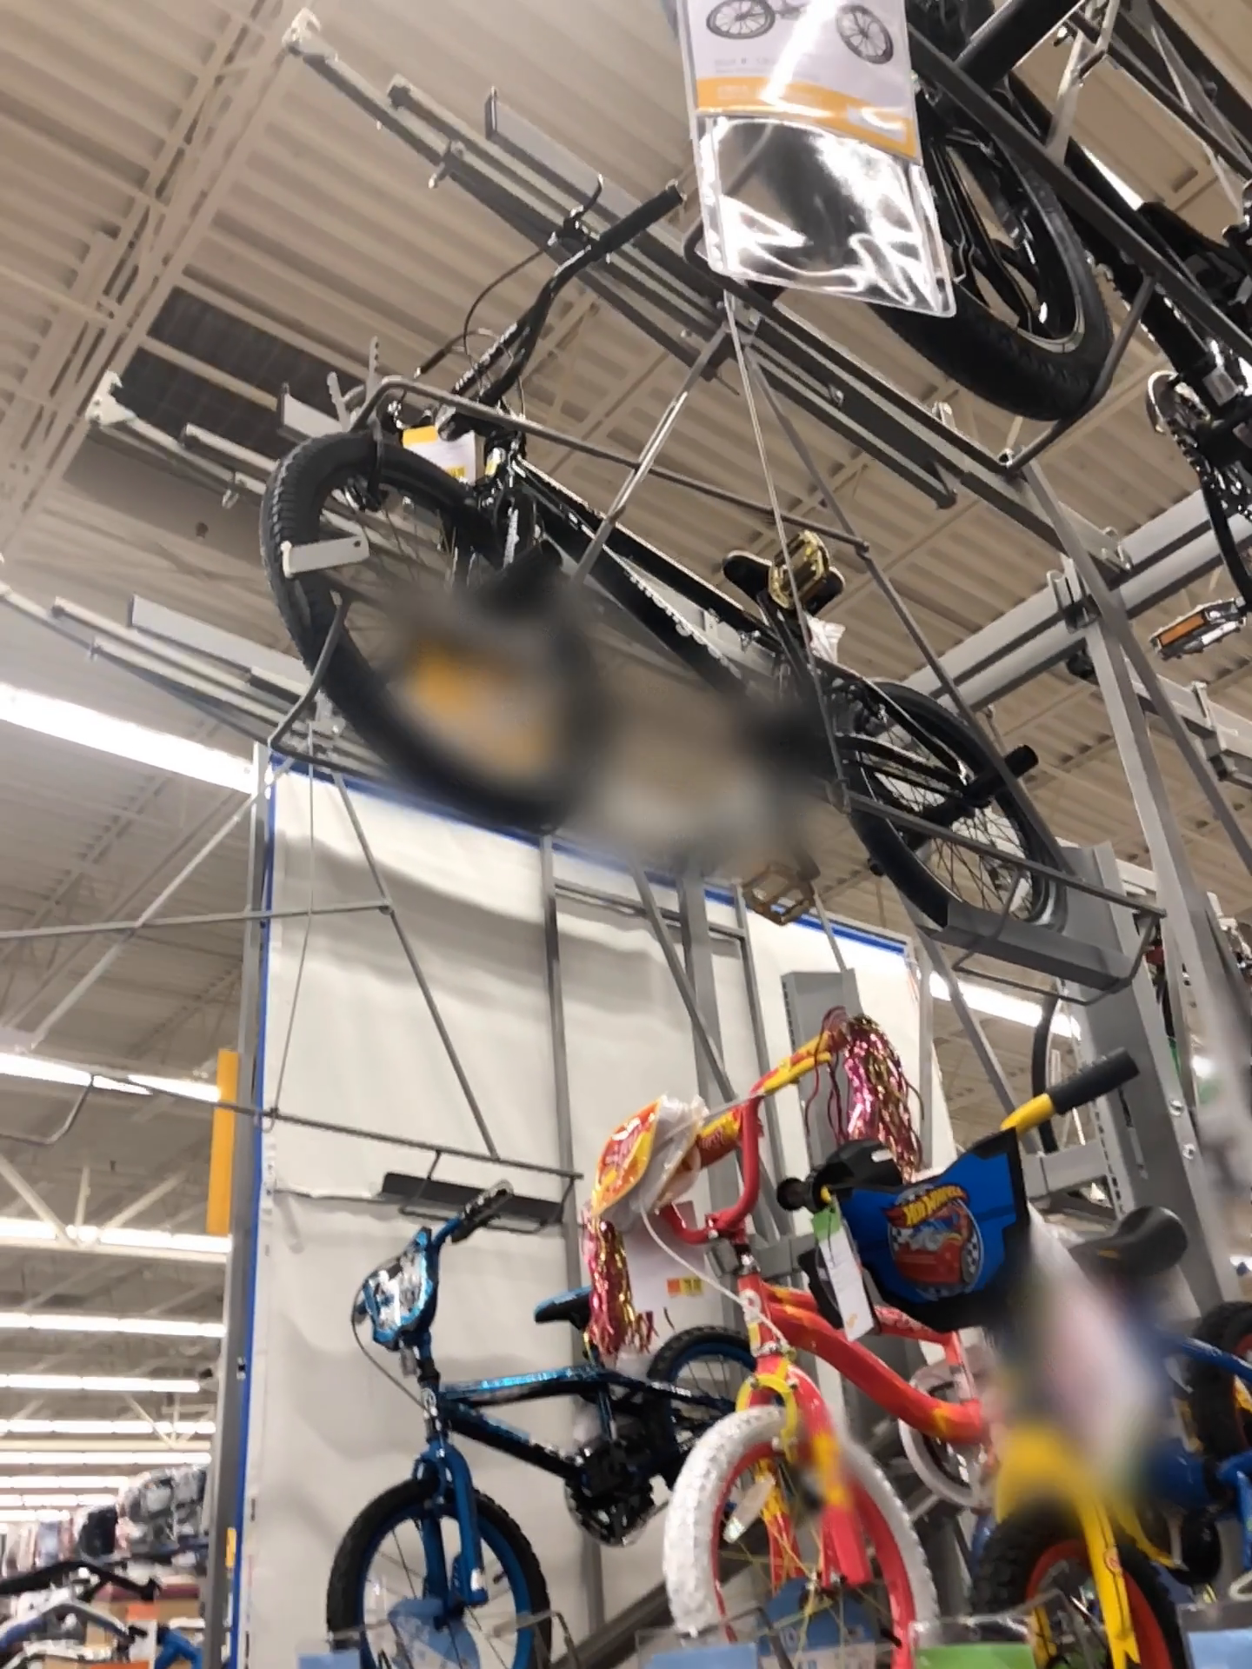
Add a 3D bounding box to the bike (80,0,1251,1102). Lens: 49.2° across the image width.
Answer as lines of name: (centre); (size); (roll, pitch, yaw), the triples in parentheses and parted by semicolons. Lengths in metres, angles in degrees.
bike: (0.096, -0.267, 1.919); (1.350, 0.909, 0.751); (18, -36, -35)
